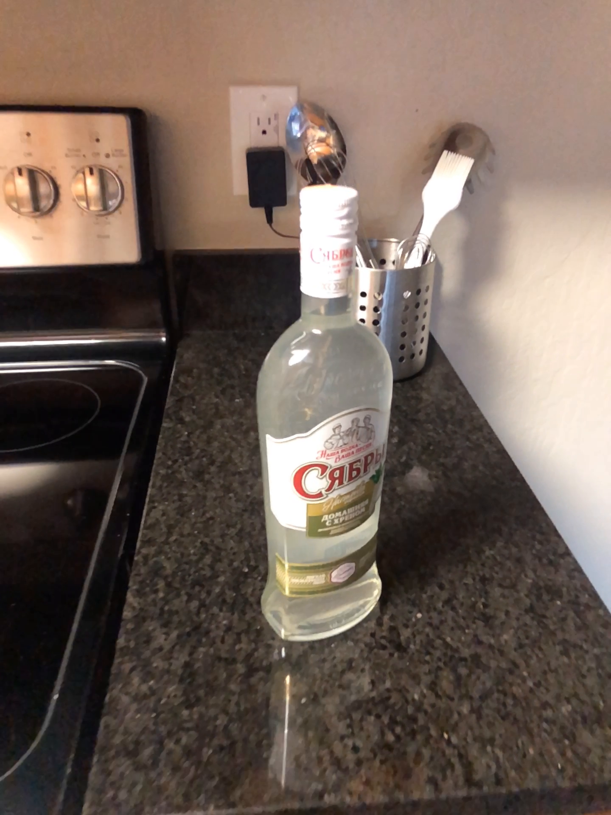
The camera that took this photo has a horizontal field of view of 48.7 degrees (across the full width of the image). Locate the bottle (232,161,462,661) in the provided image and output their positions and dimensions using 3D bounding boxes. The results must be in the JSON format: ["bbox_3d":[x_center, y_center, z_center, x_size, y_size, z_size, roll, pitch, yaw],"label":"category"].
[{"bbox_3d":[0.018,0.010,0.379,0.090,0.269,0.060,-12,31,-22],"label":"bottle"}]
